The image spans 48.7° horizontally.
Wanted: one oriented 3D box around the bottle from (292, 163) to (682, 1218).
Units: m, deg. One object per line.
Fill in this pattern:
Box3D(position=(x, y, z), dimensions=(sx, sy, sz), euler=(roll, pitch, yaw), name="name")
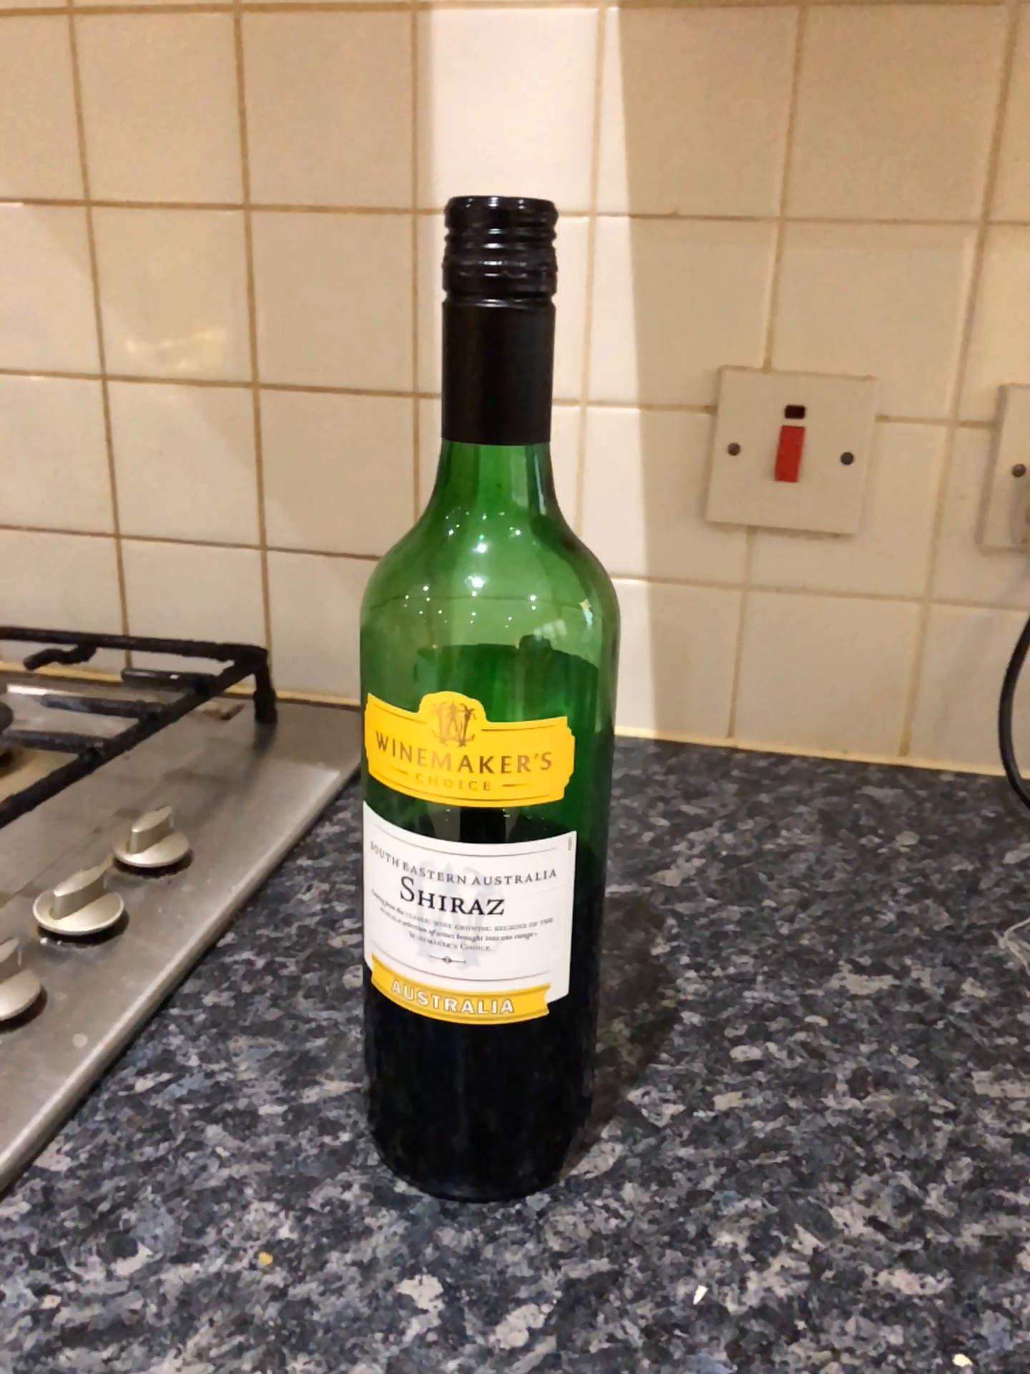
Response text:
Box3D(position=(-0.006, 0.005, 0.330), dimensions=(0.080, 0.278, 0.080), euler=(2, 19, -1), name="bottle")
